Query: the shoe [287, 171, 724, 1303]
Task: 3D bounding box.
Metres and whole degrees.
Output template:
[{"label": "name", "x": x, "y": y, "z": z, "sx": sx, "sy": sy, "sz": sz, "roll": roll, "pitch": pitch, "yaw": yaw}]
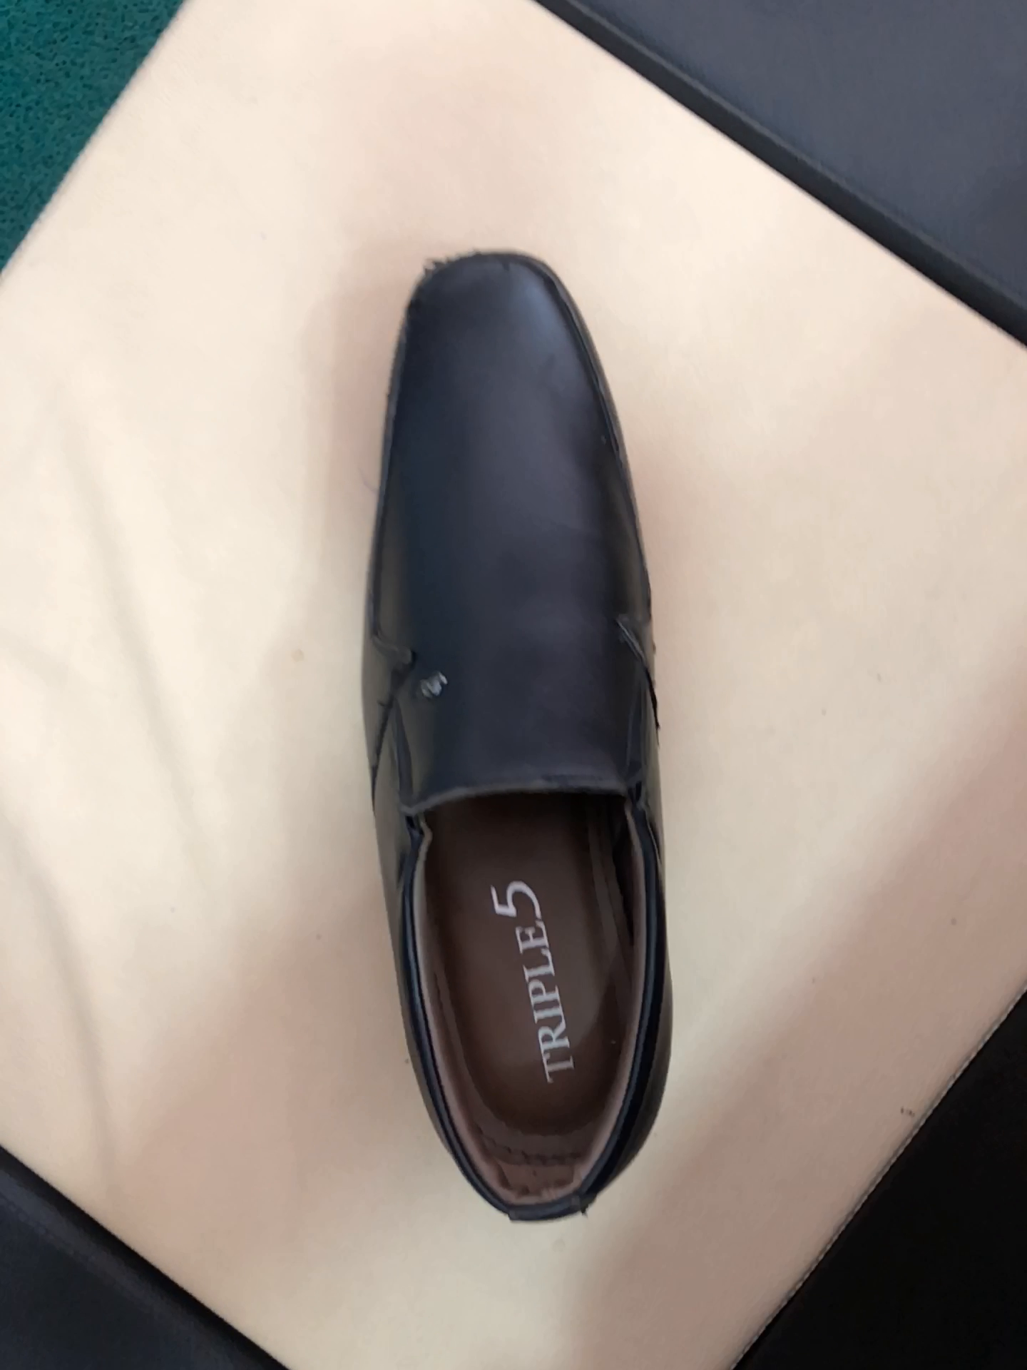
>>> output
[{"label": "shoe", "x": 0.000, "y": 0.016, "z": 0.353, "sx": 0.100, "sy": 0.090, "sz": 0.300, "roll": -3, "pitch": 90, "yaw": 4}]
